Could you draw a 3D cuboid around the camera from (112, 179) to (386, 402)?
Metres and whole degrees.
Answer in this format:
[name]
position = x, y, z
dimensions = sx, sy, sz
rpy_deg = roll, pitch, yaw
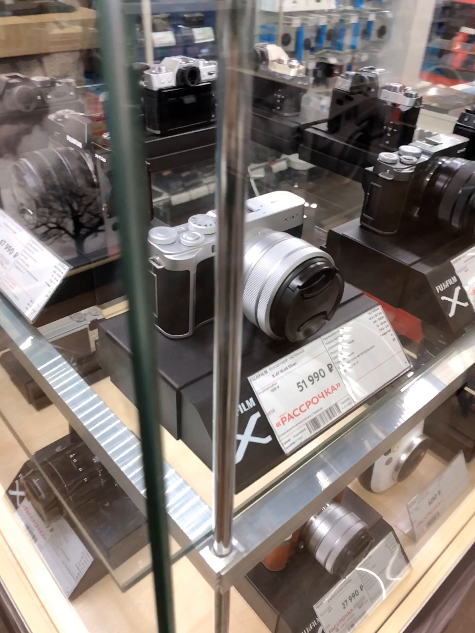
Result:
[camera]
position = 0.007, -0.027, 0.335
dimensions = 0.134, 0.066, 0.100
rpy_deg = -25, 44, -34
